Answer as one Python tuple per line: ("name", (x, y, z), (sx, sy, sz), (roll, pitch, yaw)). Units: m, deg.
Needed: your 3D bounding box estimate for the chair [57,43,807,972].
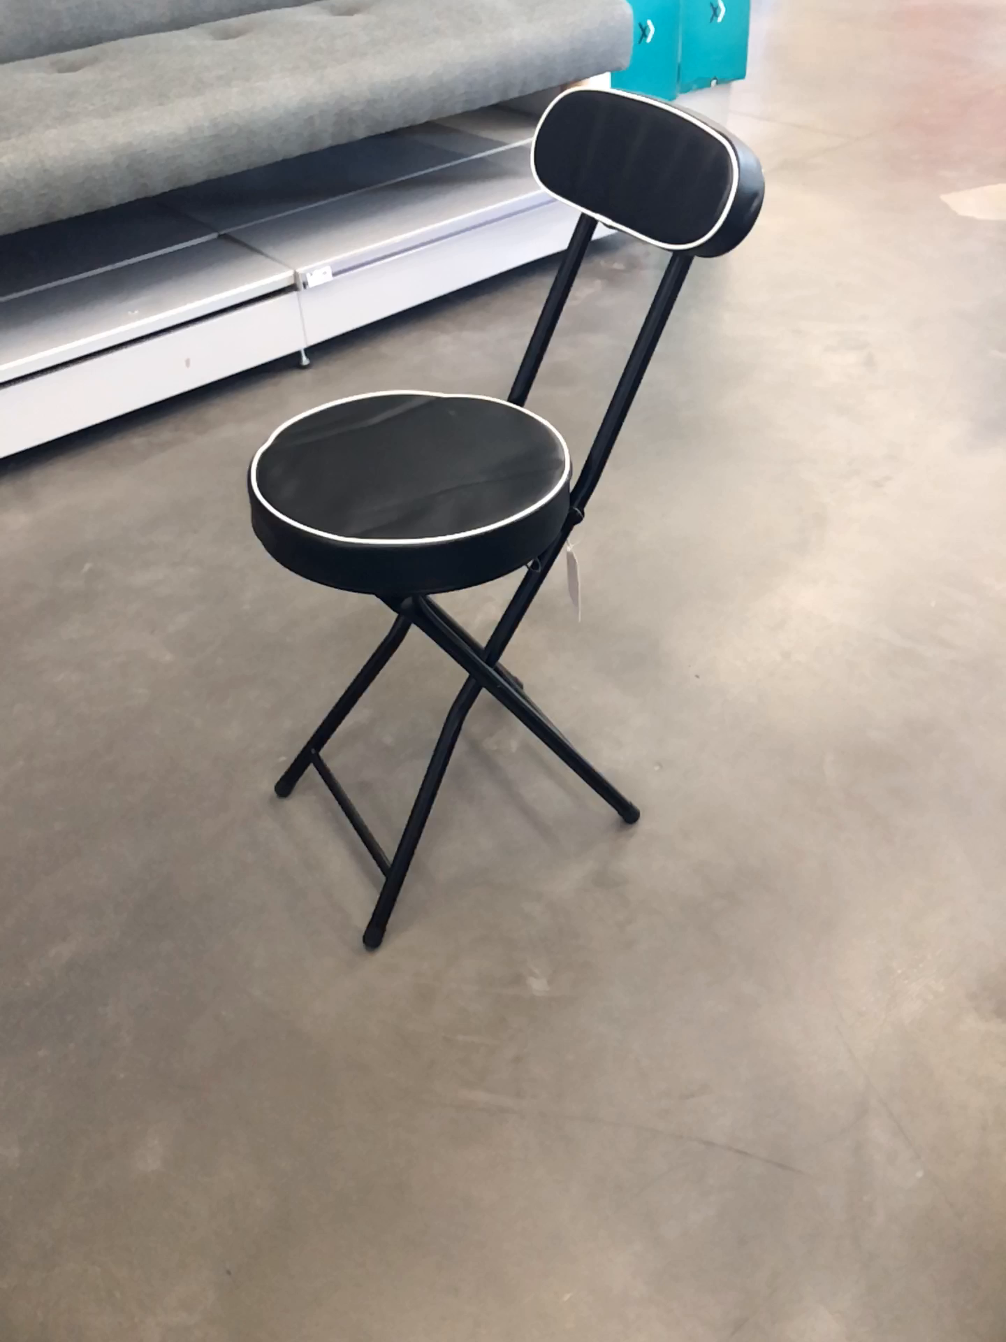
("chair", (-0.044, -0.152, 1.133), (0.511, 0.756, 0.341), (-22, 43, -20))
